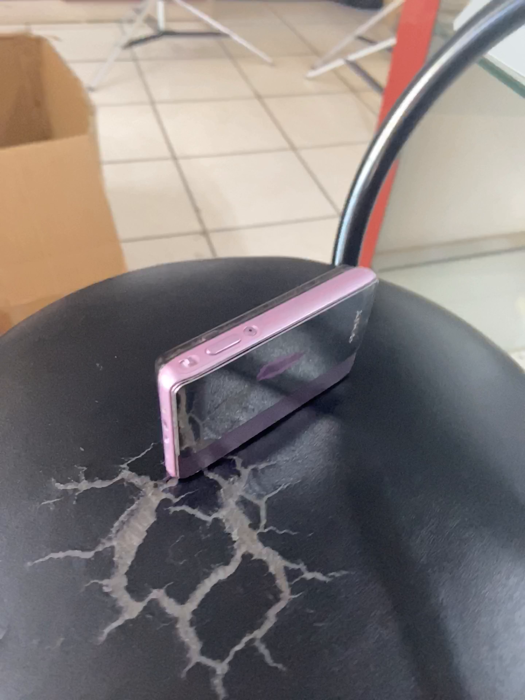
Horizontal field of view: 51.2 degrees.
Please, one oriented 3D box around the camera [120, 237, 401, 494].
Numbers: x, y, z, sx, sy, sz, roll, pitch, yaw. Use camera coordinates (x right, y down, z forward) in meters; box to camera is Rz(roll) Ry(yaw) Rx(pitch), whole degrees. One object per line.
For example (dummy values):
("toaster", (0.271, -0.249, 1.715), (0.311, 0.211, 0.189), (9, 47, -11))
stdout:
("camera", (0.002, 0.002, 0.204), (0.100, 0.050, 0.030), (-29, 56, -30))
